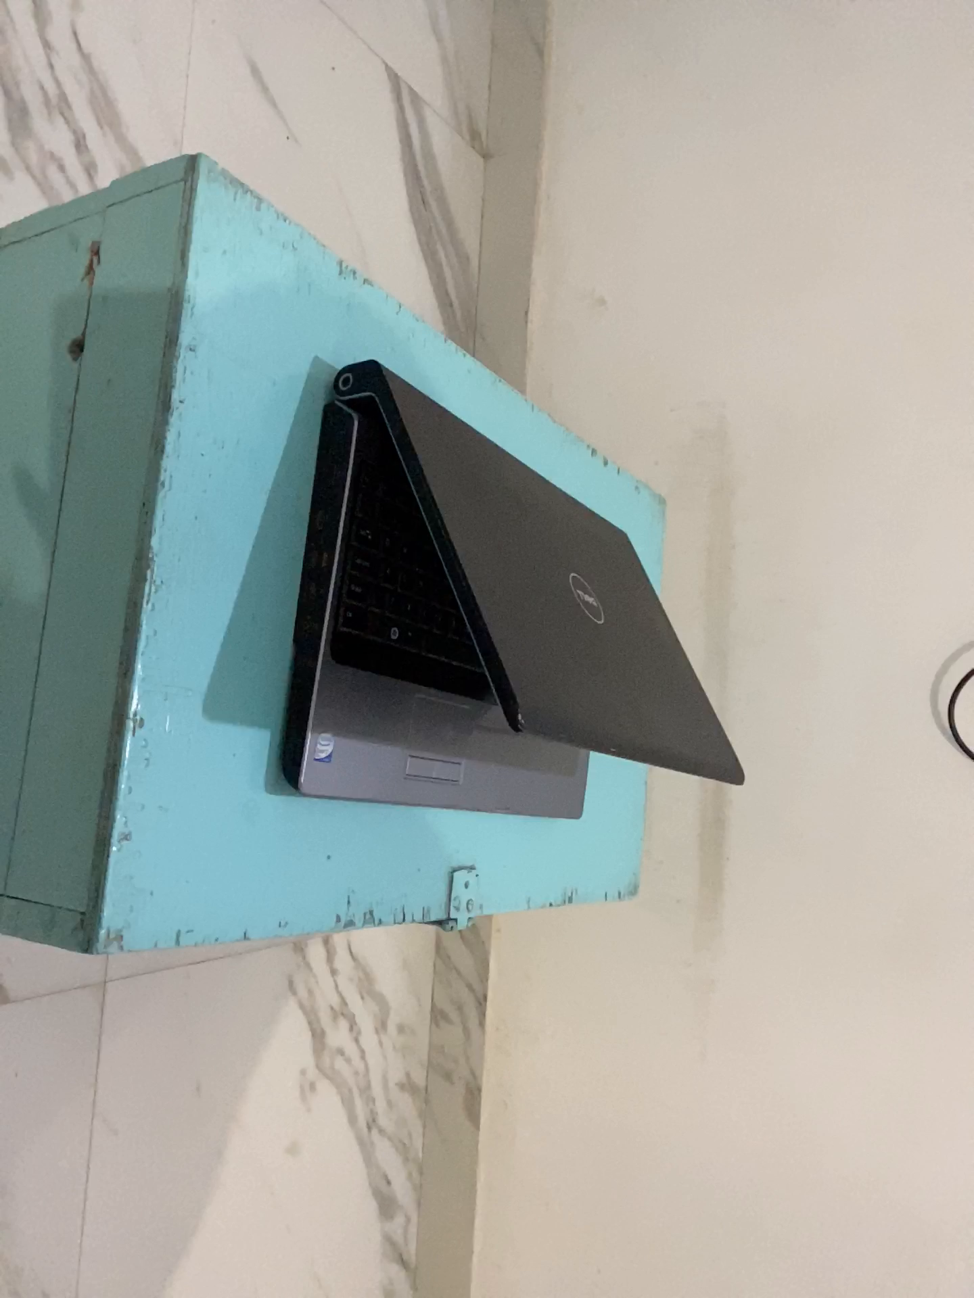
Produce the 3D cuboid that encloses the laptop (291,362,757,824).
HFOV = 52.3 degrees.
[{"bbox_3d":[0.061,-0.007,0.763,0.390,0.152,0.261,18,77,-56],"label":"laptop"}]
